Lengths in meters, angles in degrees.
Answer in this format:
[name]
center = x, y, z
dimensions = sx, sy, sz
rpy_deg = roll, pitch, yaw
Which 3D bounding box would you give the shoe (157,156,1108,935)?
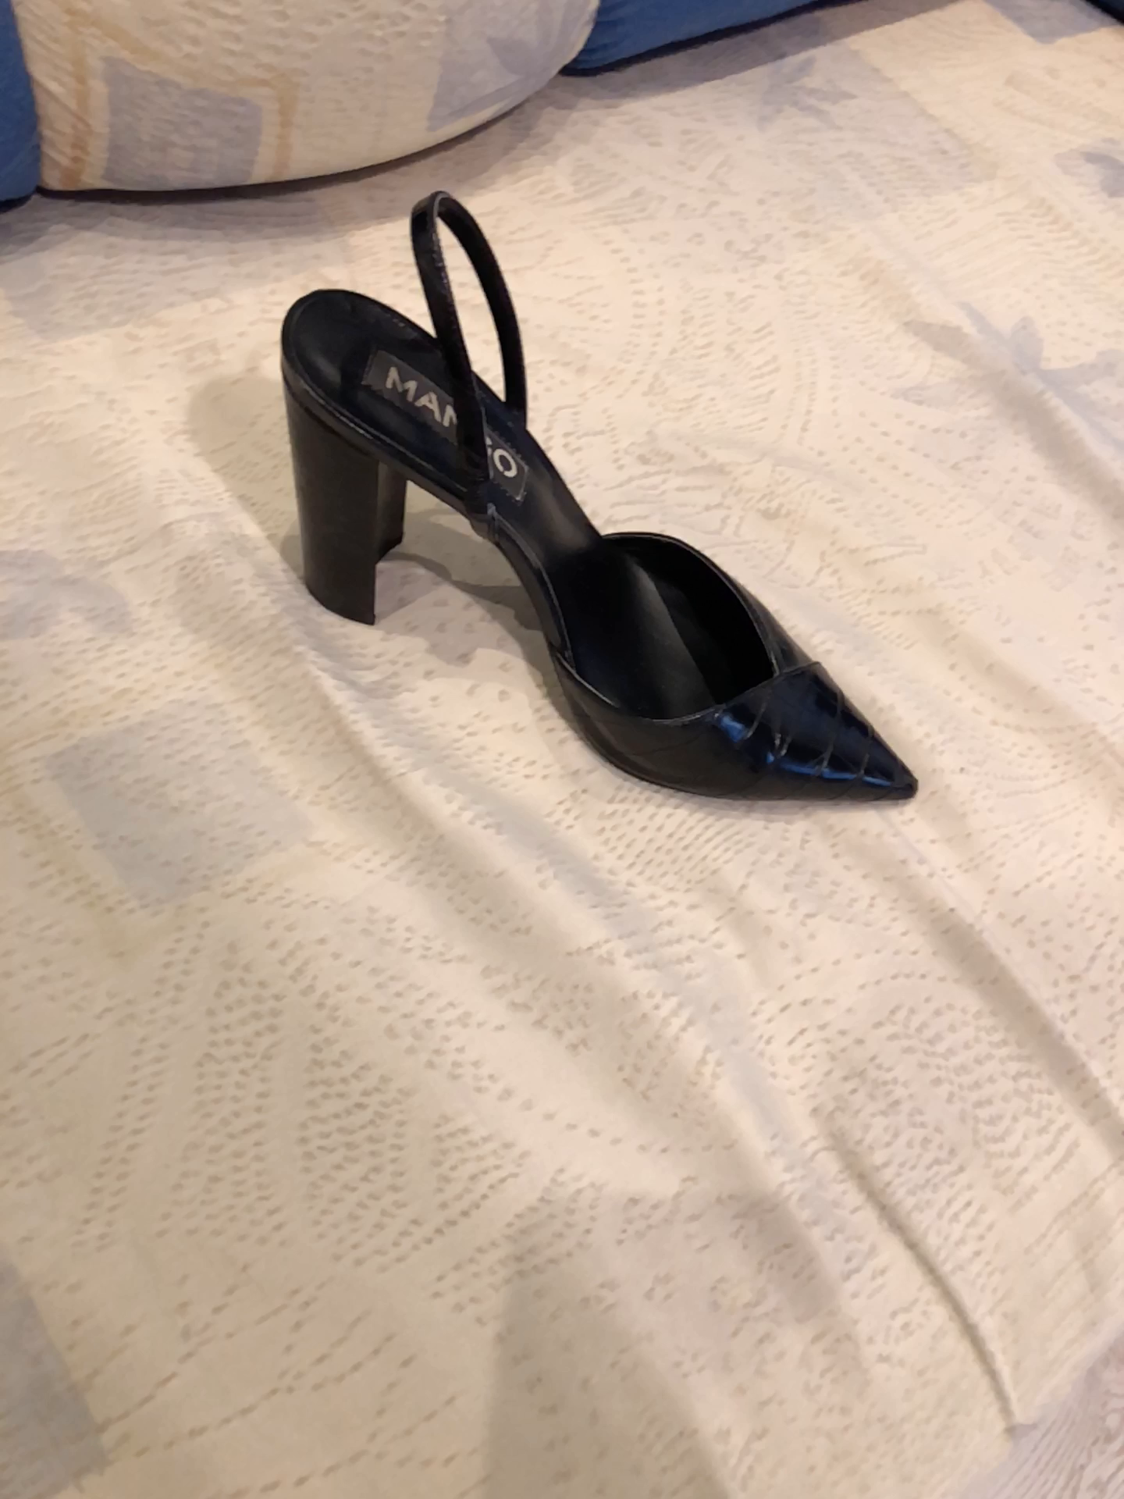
[shoe]
center = 0.016, -0.056, 0.384
dimensions = 0.240, 0.129, 0.101
rpy_deg = 22, 58, 2
